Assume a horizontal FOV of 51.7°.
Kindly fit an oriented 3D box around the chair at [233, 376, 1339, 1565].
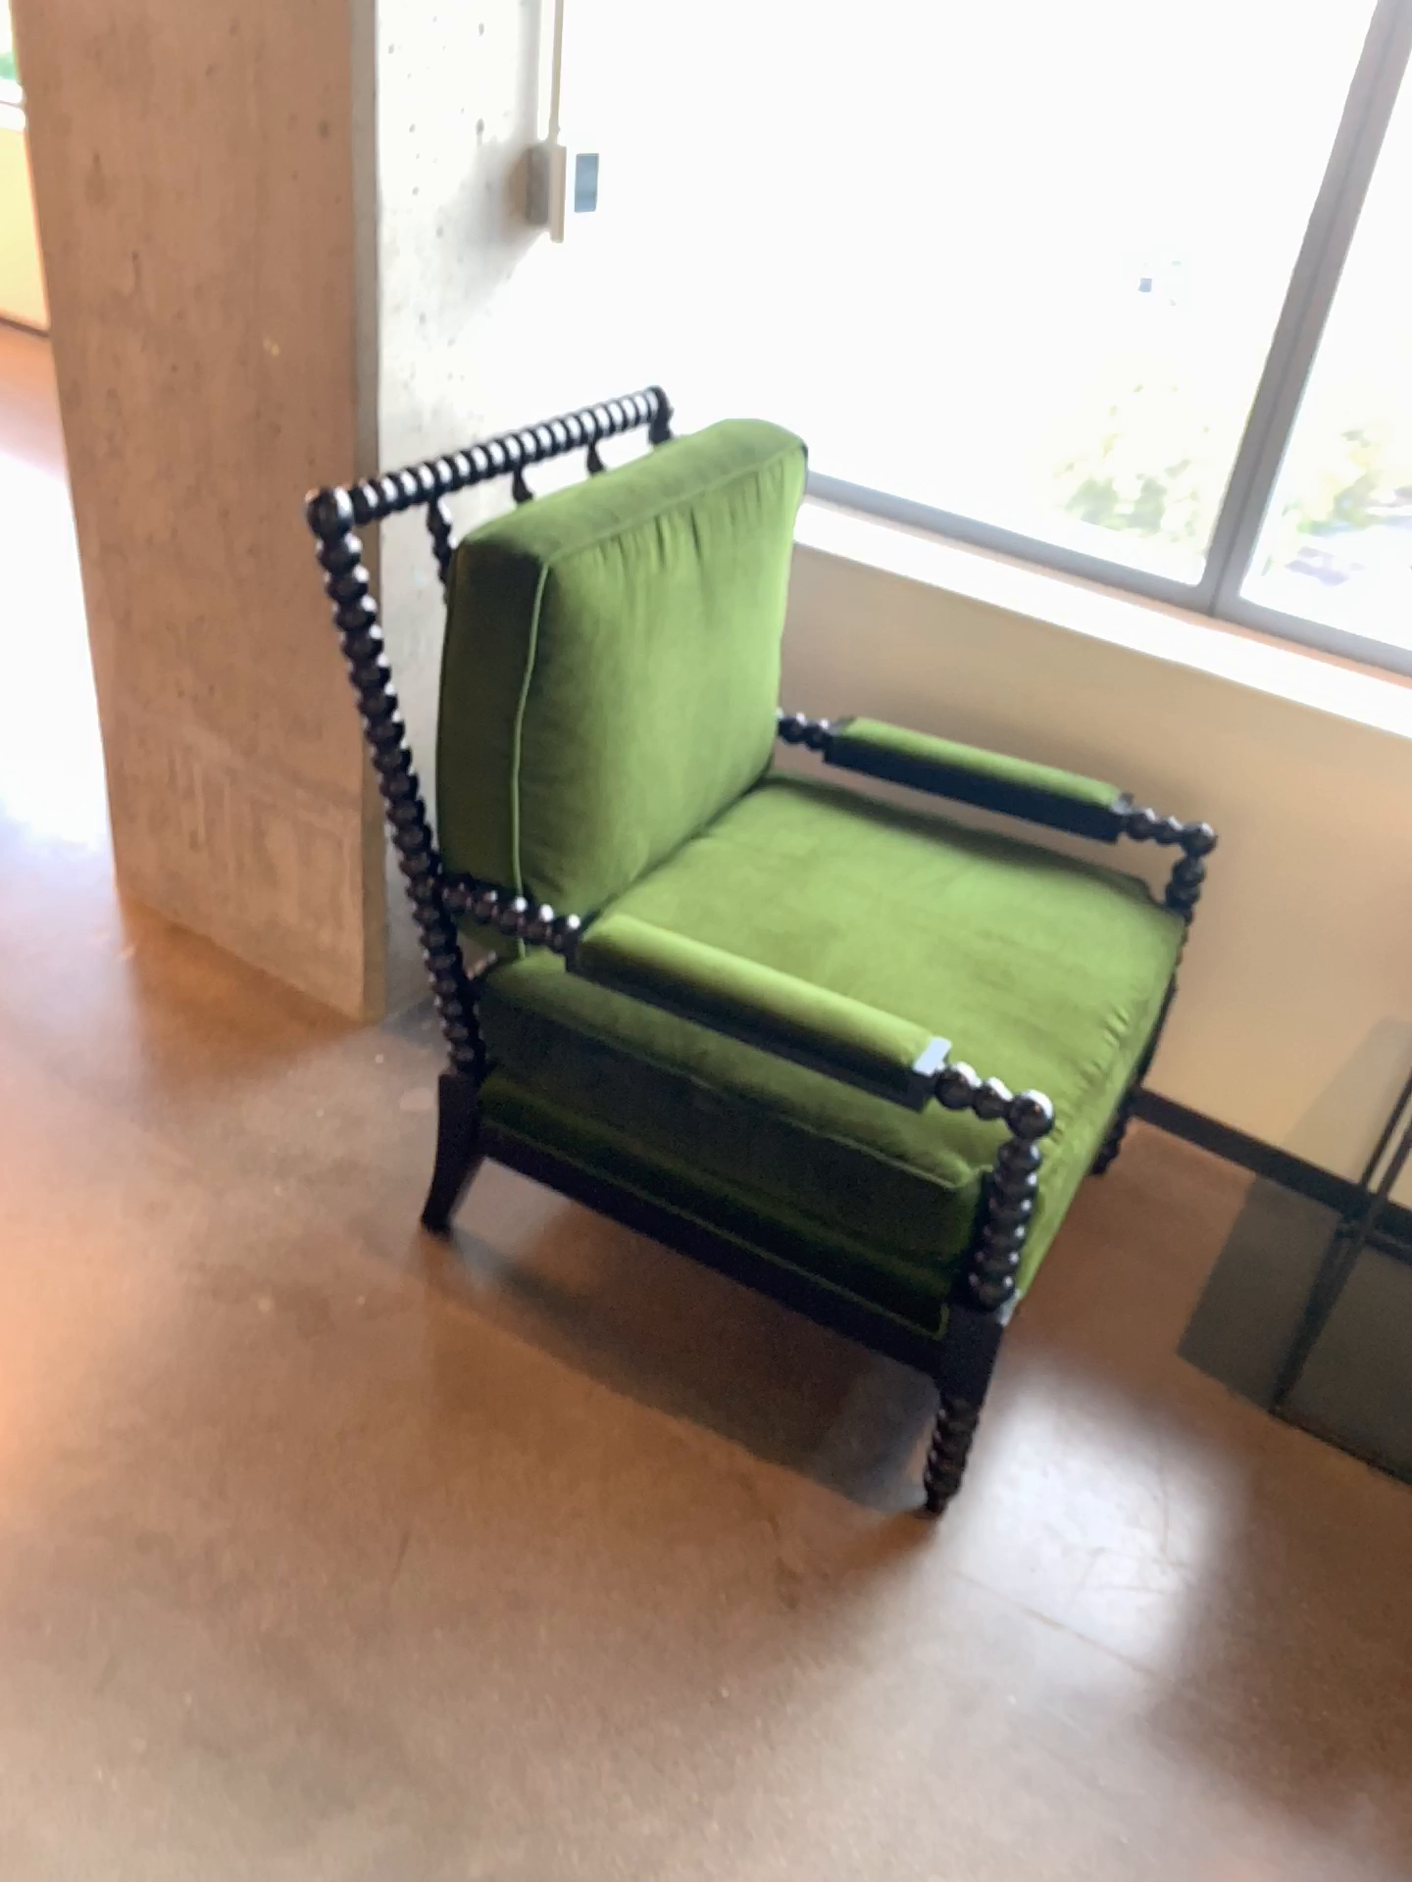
[{"bbox_3d":[0.098,-0.055,1.795,0.912,0.925,0.843,21,36,20],"label":"chair"}]
